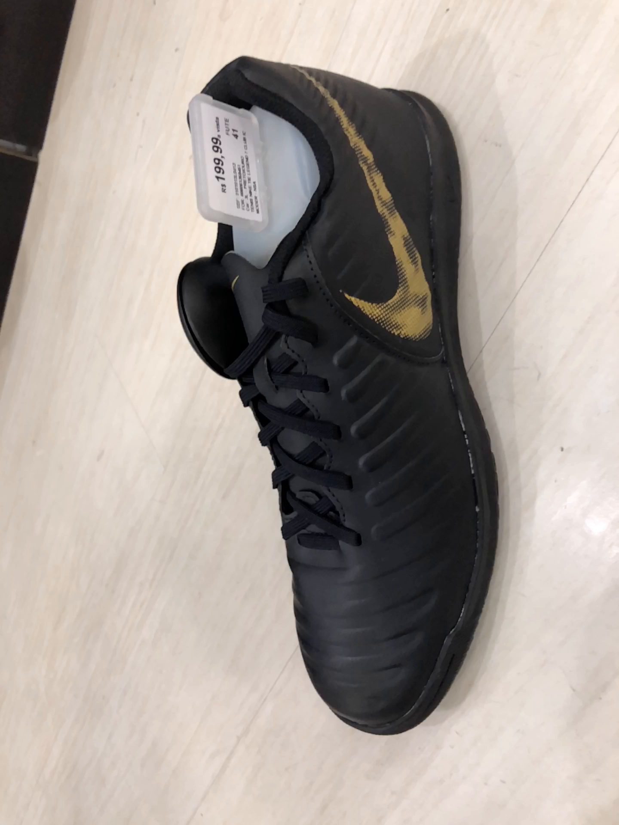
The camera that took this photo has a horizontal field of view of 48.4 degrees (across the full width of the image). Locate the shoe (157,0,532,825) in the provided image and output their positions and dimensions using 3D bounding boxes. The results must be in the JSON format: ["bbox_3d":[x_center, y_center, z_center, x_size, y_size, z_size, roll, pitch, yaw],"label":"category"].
[{"bbox_3d":[0.010,-0.007,0.288,0.101,0.109,0.290,-8,81,52],"label":"shoe"}]
